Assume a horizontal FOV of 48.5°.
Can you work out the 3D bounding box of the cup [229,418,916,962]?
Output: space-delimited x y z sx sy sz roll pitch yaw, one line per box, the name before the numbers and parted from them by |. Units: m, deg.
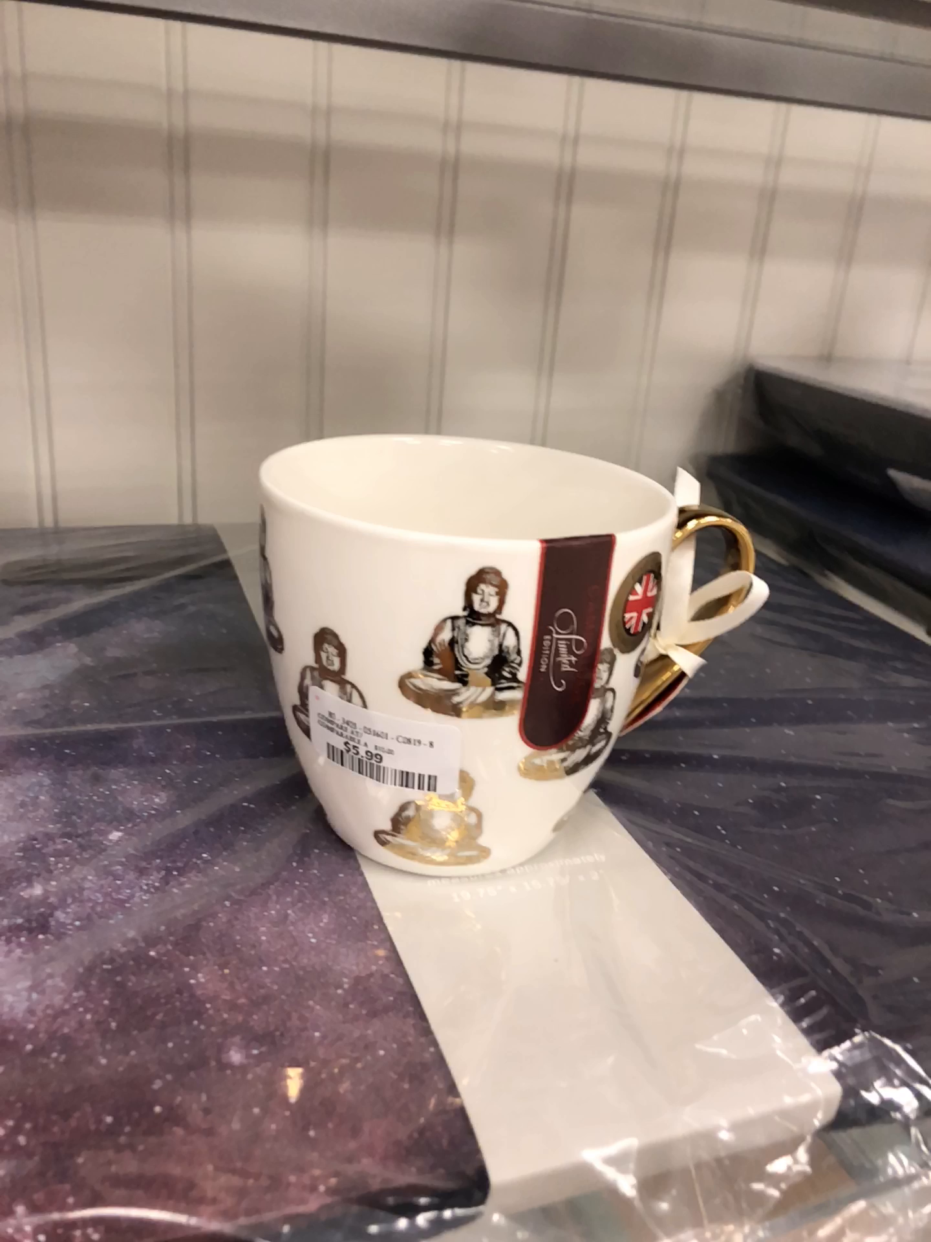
cup | 0.019 0.004 0.270 0.137 0.089 0.101 -6 25 -25
